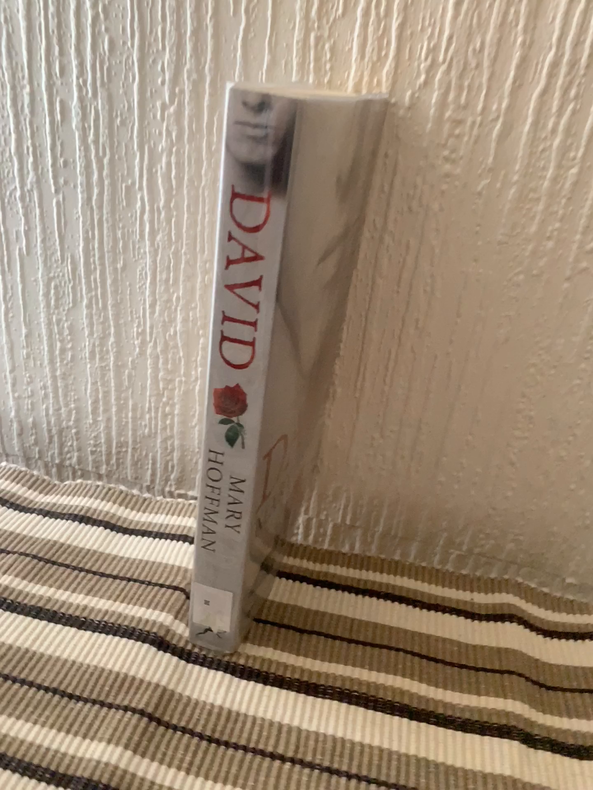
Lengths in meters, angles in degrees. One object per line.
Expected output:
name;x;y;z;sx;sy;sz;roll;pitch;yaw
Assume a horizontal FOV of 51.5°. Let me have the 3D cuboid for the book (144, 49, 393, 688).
book;-0.008;-0.021;0.271;0.040;0.218;0.171;13;28;10
